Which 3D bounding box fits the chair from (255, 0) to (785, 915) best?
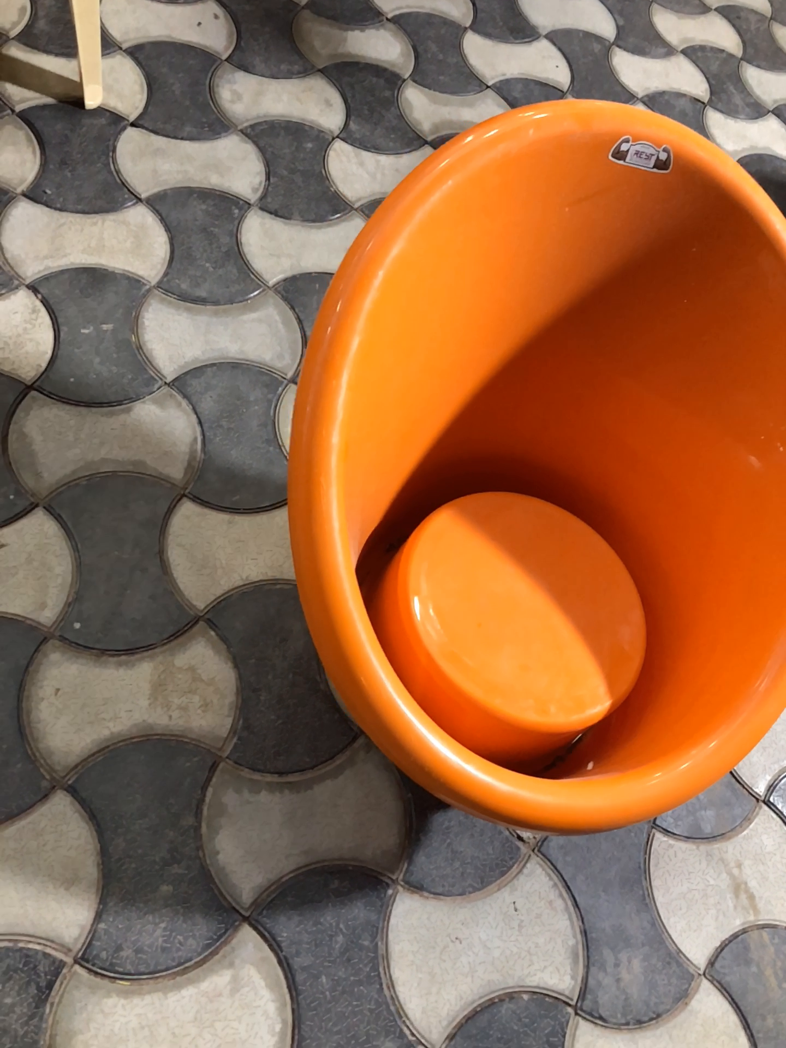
[{"bbox_3d":[0.215,-0.015,0.982,0.661,0.666,0.723,3,59,-15],"label":"chair"}]
